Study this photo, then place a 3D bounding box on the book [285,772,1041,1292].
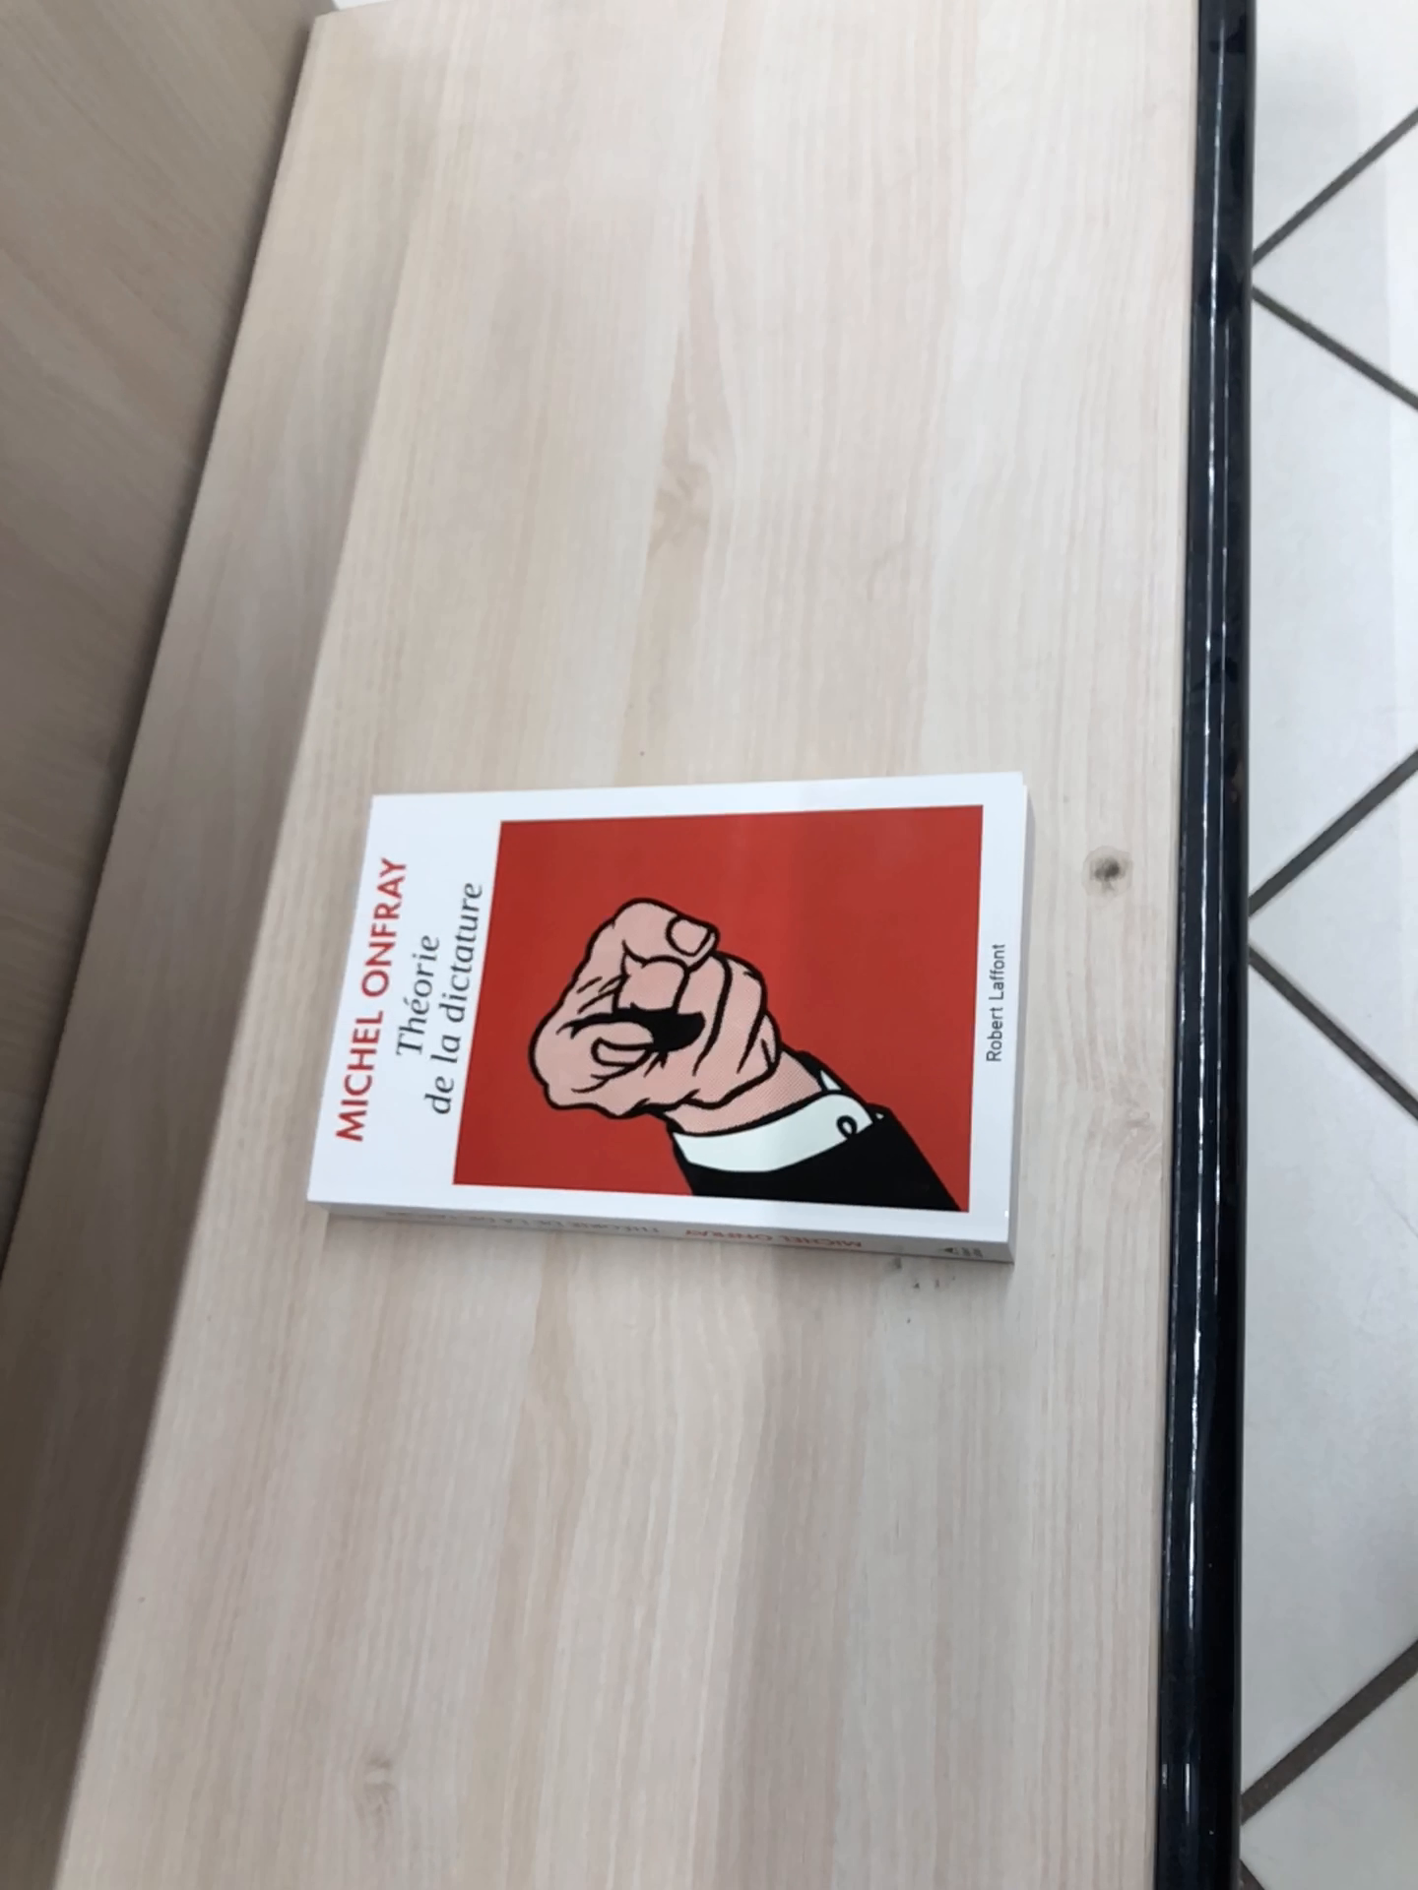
[{"bbox_3d":[-0.012,0.022,0.455,0.207,0.029,0.139,0,70,17],"label":"book"}]
